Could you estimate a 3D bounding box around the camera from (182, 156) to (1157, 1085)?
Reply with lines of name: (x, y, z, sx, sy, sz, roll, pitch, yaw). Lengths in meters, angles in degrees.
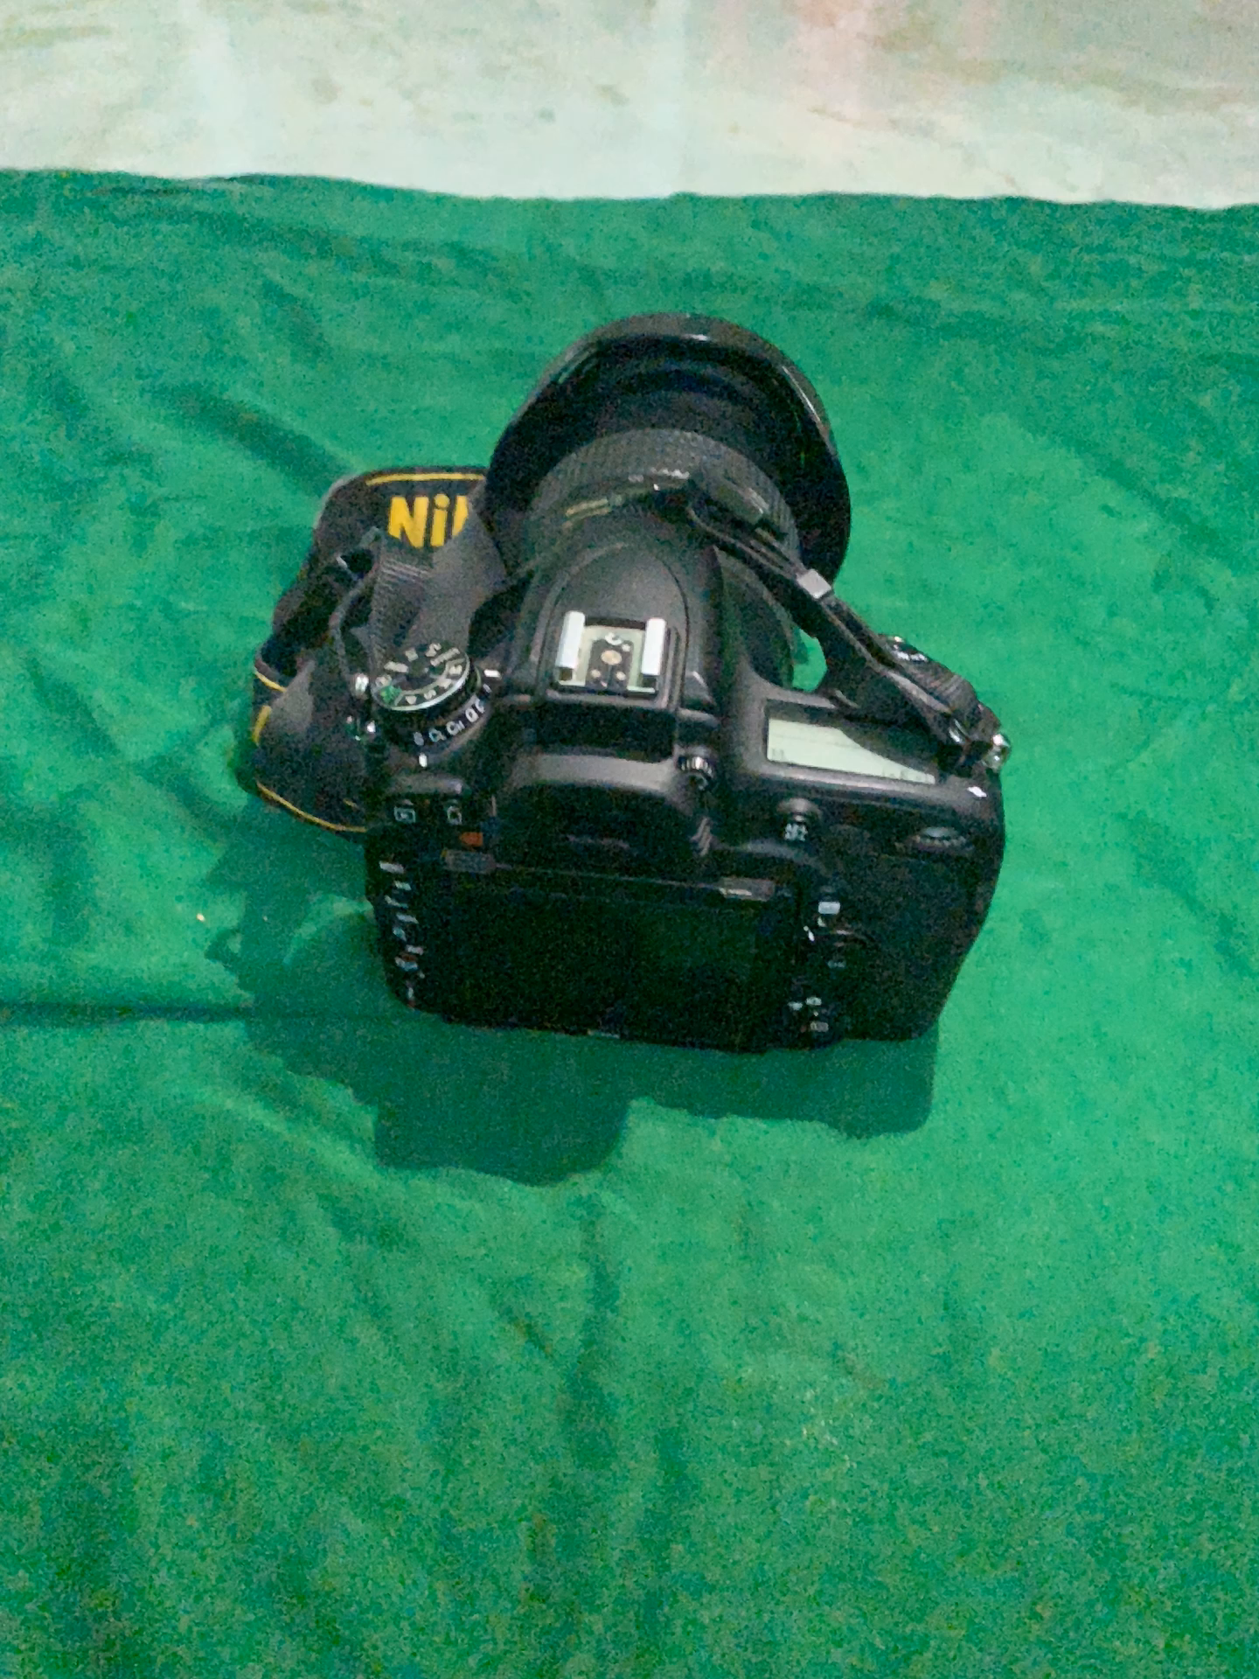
camera: (0.020, -0.089, 0.365, 0.170, 0.100, 0.291, 6, 43, 4)
